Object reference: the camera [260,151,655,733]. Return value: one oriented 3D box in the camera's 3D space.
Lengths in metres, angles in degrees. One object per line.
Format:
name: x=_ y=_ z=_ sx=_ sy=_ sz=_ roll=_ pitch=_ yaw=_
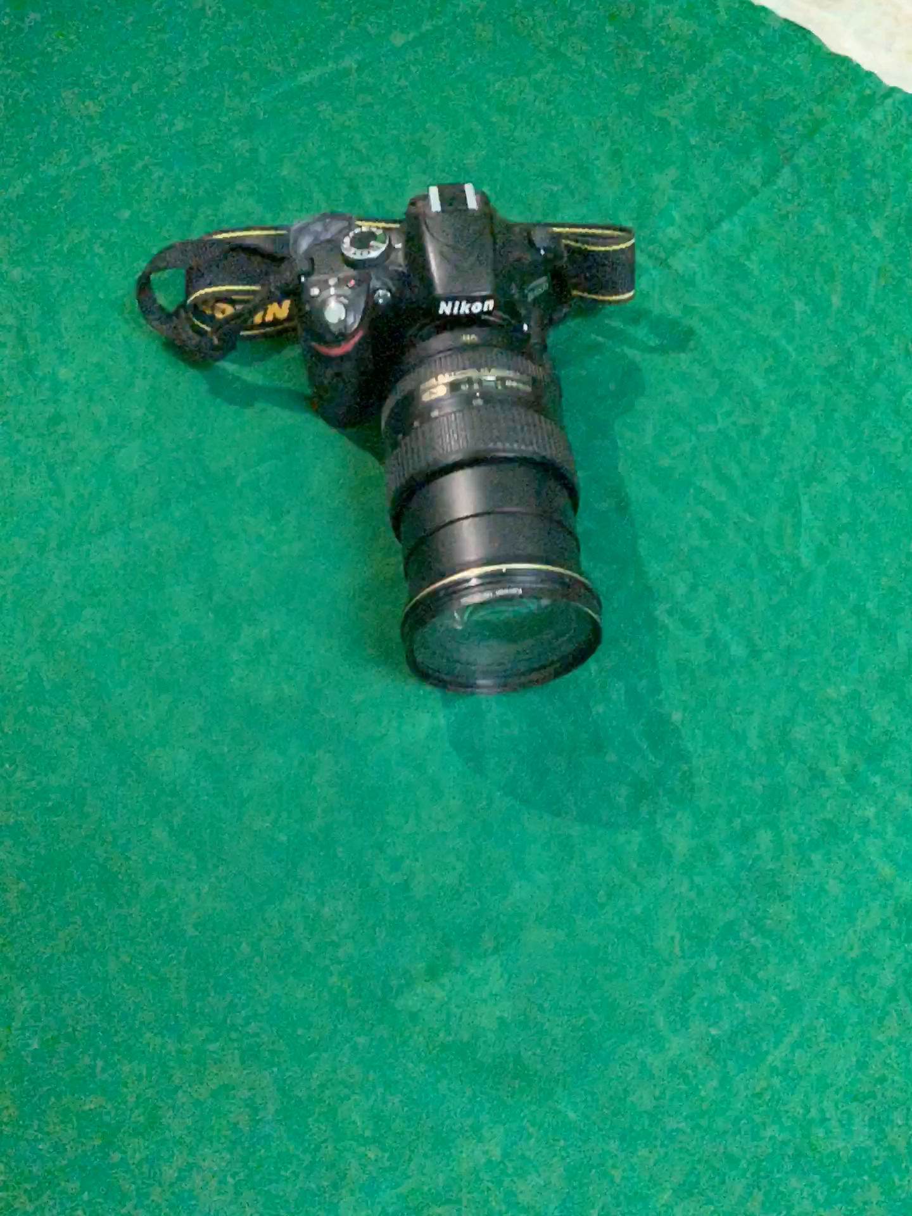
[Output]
camera: x=-0.011 y=-0.079 z=0.406 sx=0.122 sy=0.088 sz=0.235 roll=-7 pitch=61 yaw=-4
